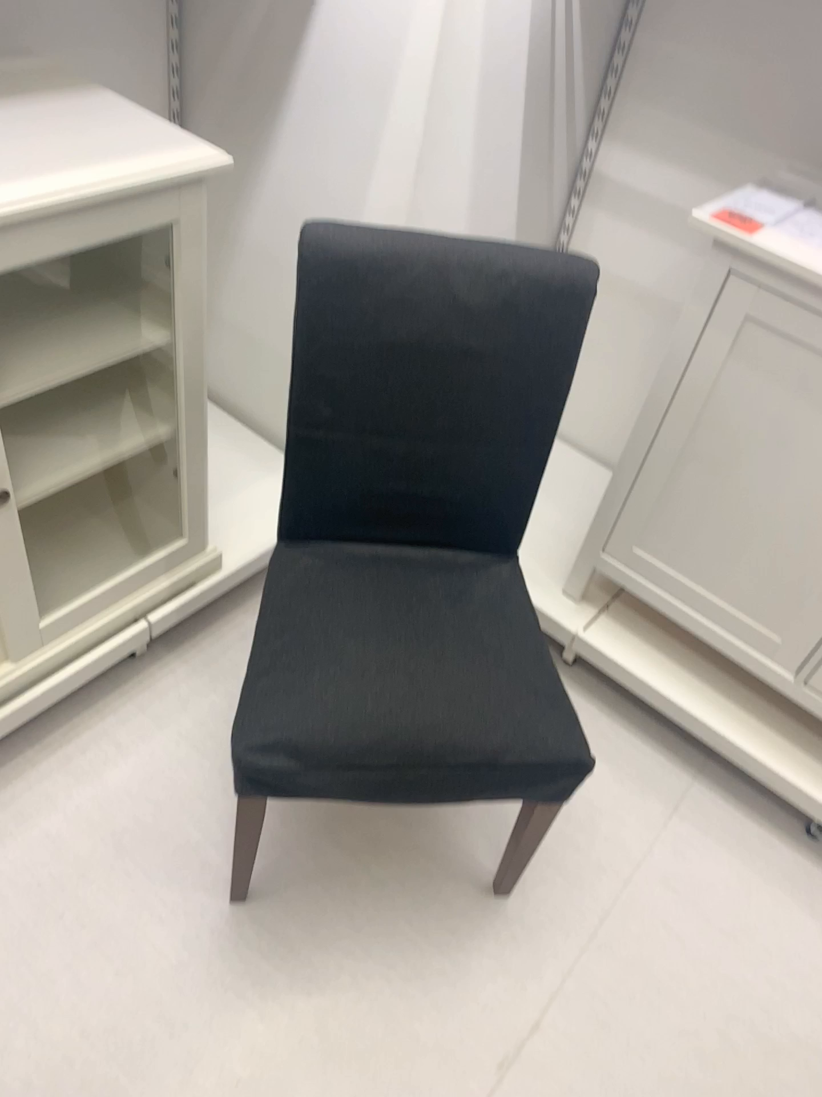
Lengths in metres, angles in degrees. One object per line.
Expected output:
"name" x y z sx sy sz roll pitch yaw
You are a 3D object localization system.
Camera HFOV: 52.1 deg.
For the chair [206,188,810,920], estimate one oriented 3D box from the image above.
"chair" 0.004 0.053 1.224 0.540 0.837 0.612 3 44 -10
